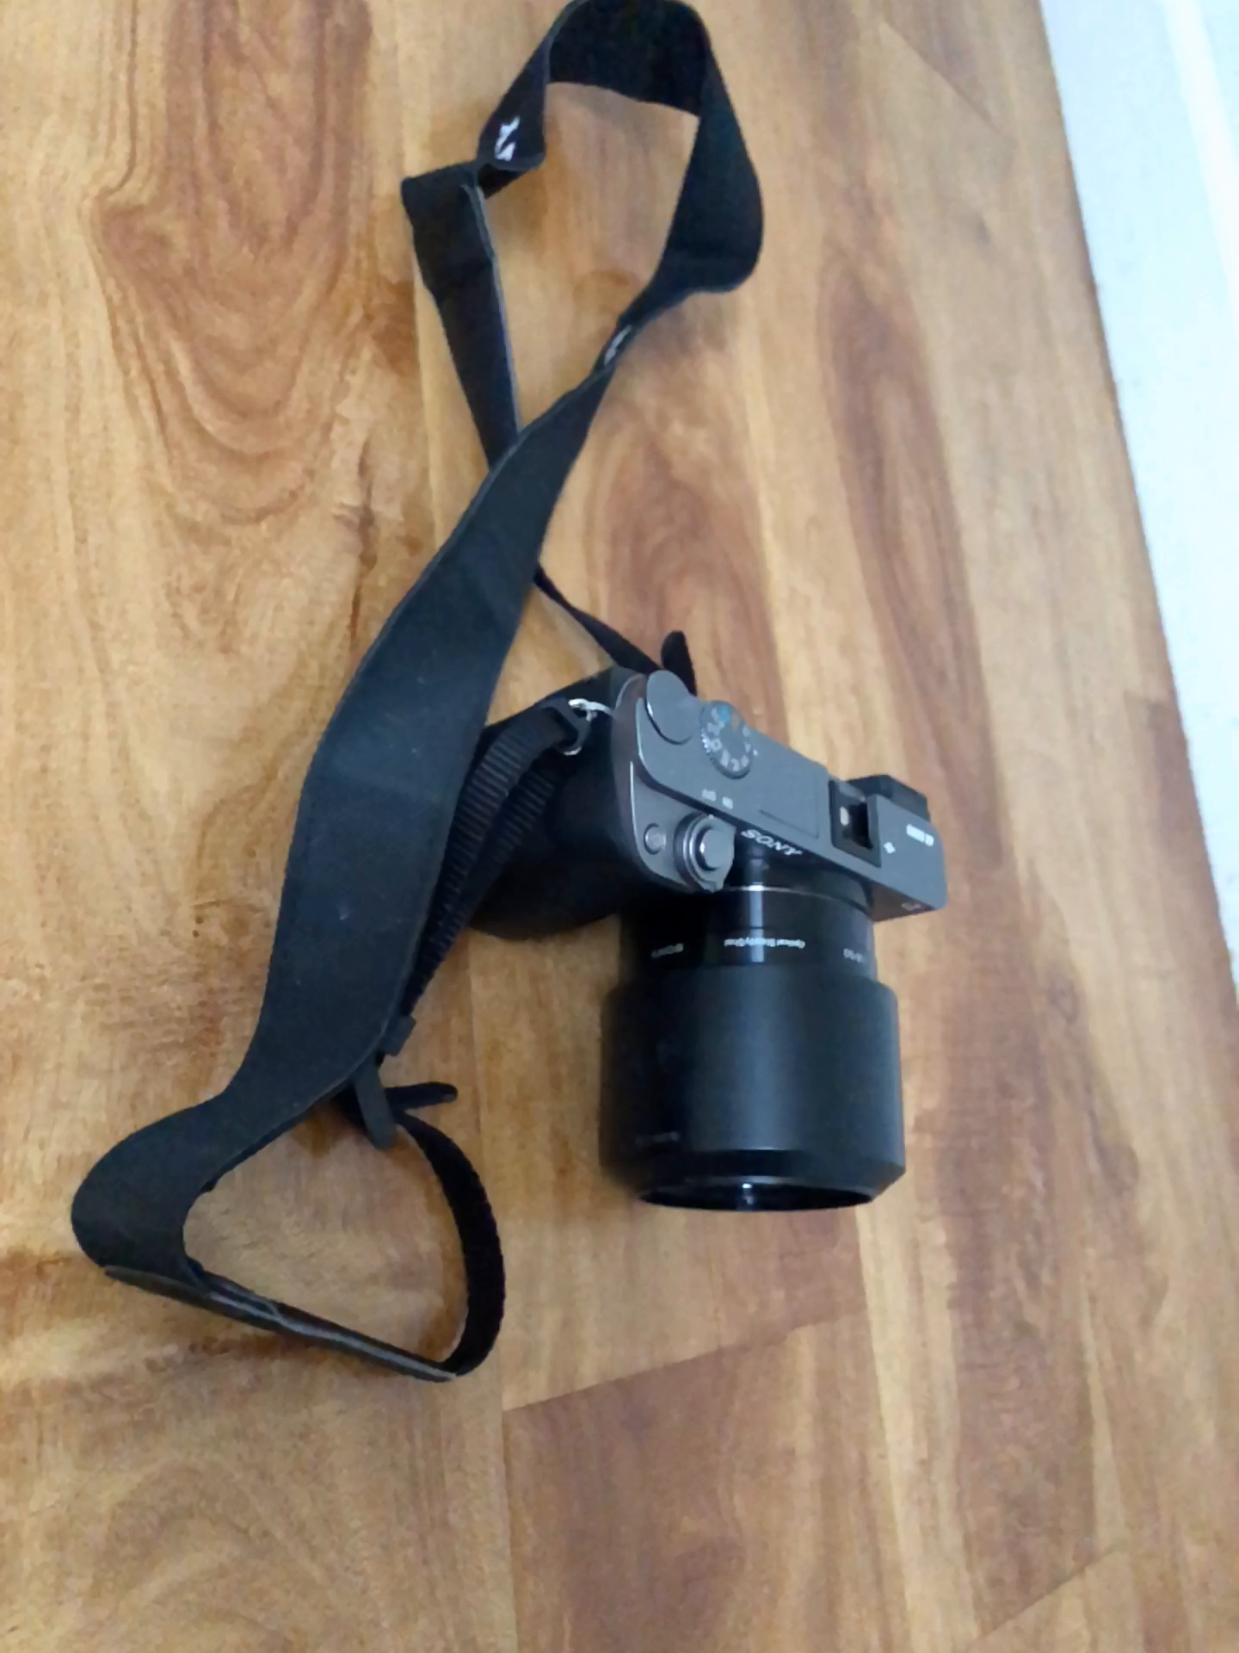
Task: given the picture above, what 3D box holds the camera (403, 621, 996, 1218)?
[{"bbox_3d":[0.023,0.033,0.338,0.131,0.070,0.110,21,61,-43],"label":"camera"}]
